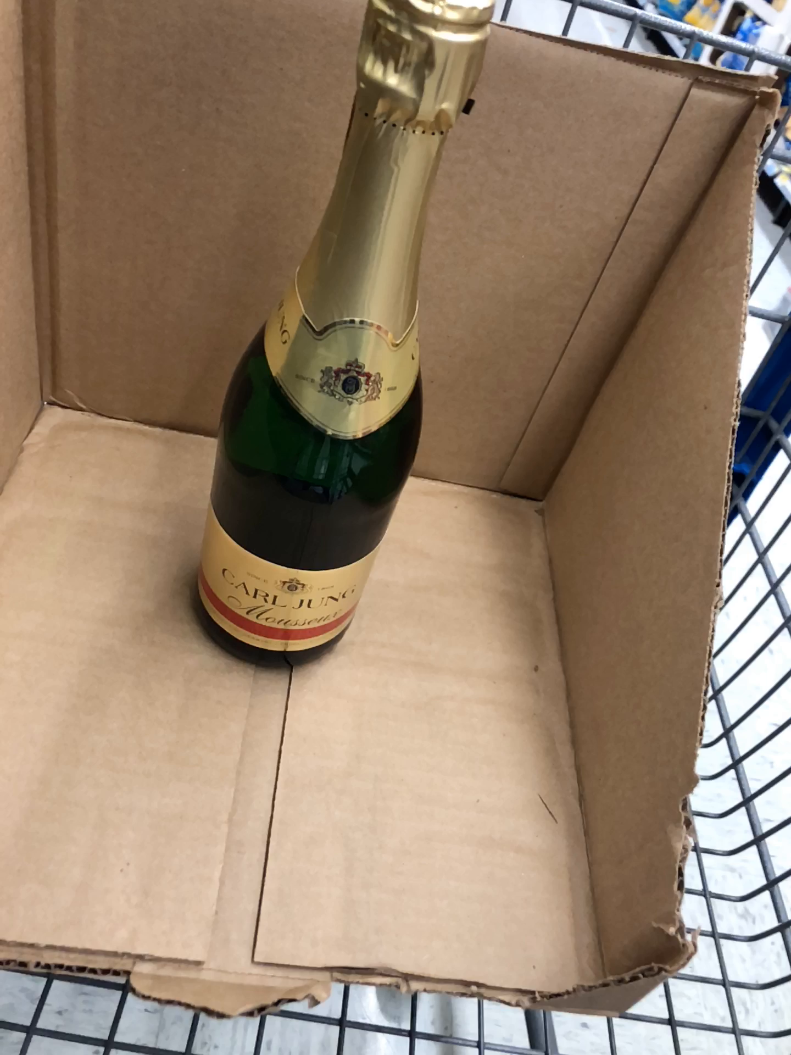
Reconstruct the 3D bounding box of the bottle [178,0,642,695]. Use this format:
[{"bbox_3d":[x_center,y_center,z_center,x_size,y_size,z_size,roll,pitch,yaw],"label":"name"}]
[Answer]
[{"bbox_3d":[-0.019,-0.059,0.333,0.090,0.288,0.081,10,42,-11],"label":"bottle"}]
